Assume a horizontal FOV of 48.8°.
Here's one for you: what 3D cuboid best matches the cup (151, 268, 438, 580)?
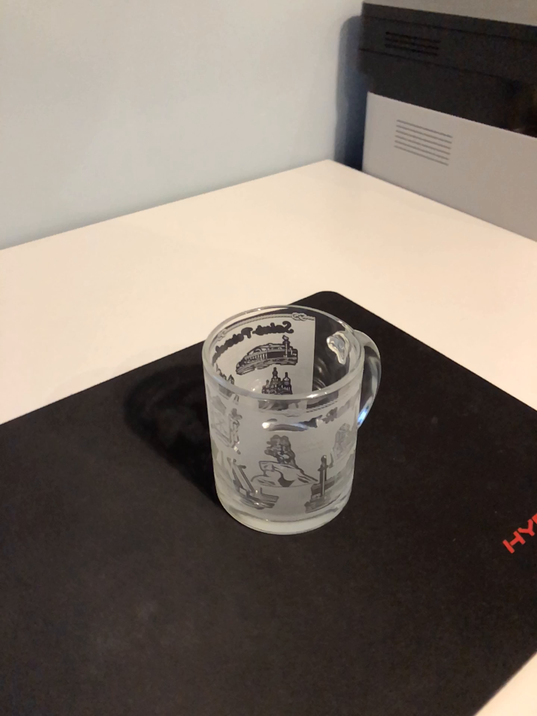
[{"bbox_3d":[0.013,0.031,0.334,0.116,0.106,0.090,-24,43,-27],"label":"cup"}]
